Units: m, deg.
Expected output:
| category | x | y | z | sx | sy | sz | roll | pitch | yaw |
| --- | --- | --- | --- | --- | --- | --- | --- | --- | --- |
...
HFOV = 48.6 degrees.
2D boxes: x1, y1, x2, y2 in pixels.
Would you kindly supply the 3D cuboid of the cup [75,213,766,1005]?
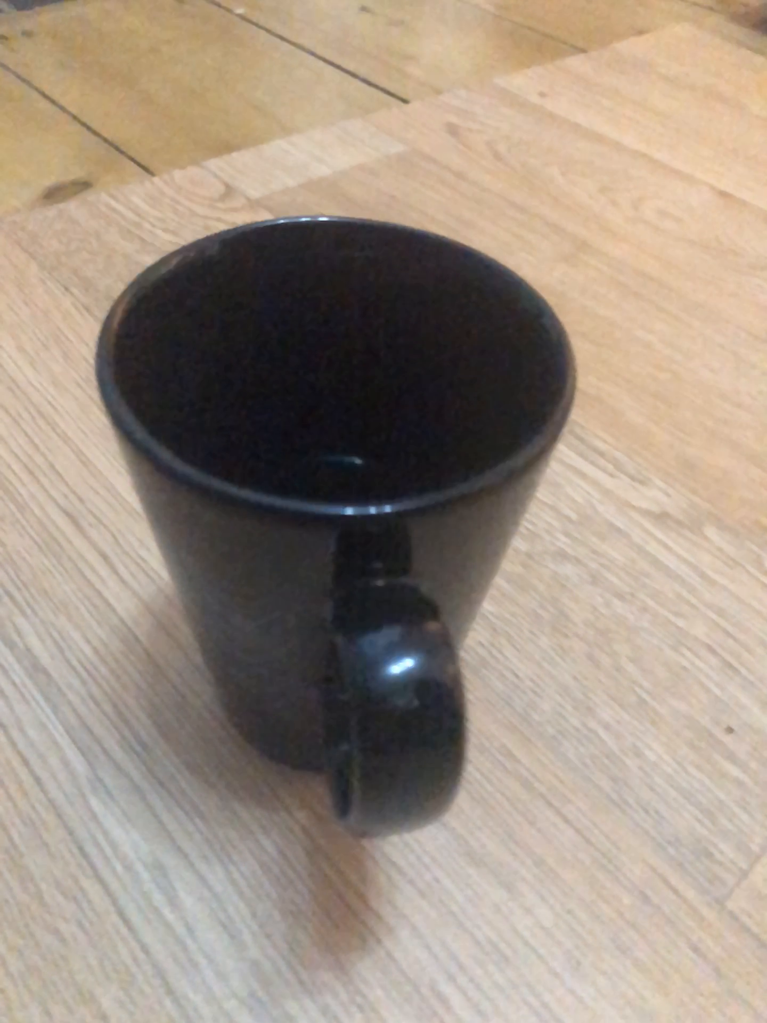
| category | x | y | z | sx | sy | sz | roll | pitch | yaw |
| --- | --- | --- | --- | --- | --- | --- | --- | --- | --- |
| cup | -0.003 | 0.012 | 0.172 | 0.090 | 0.089 | 0.121 | -5 | 47 | -10 |
